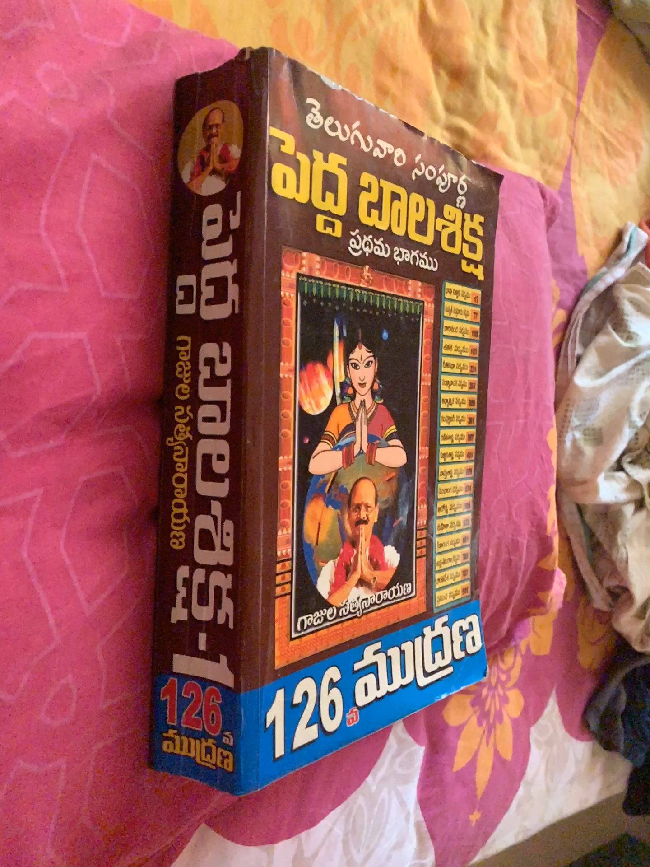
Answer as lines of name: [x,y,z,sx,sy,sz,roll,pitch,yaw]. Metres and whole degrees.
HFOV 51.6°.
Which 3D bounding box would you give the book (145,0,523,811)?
book: [0.017,-0.013,0.290,0.181,0.050,0.260,0,91,-46]
